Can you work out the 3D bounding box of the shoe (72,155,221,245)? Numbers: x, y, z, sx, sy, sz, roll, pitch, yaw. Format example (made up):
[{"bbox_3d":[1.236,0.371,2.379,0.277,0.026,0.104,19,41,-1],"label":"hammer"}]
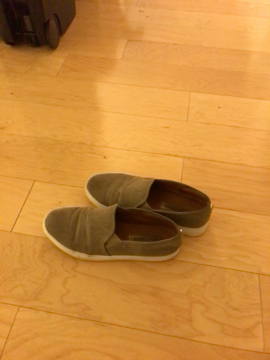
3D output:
[{"bbox_3d":[0.026,0.037,0.612,0.280,0.060,0.111,13,54,9],"label":"shoe"}]

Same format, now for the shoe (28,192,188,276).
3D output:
[{"bbox_3d":[-0.045,0.101,0.564,0.280,0.050,0.111,7,53,5],"label":"shoe"}]
